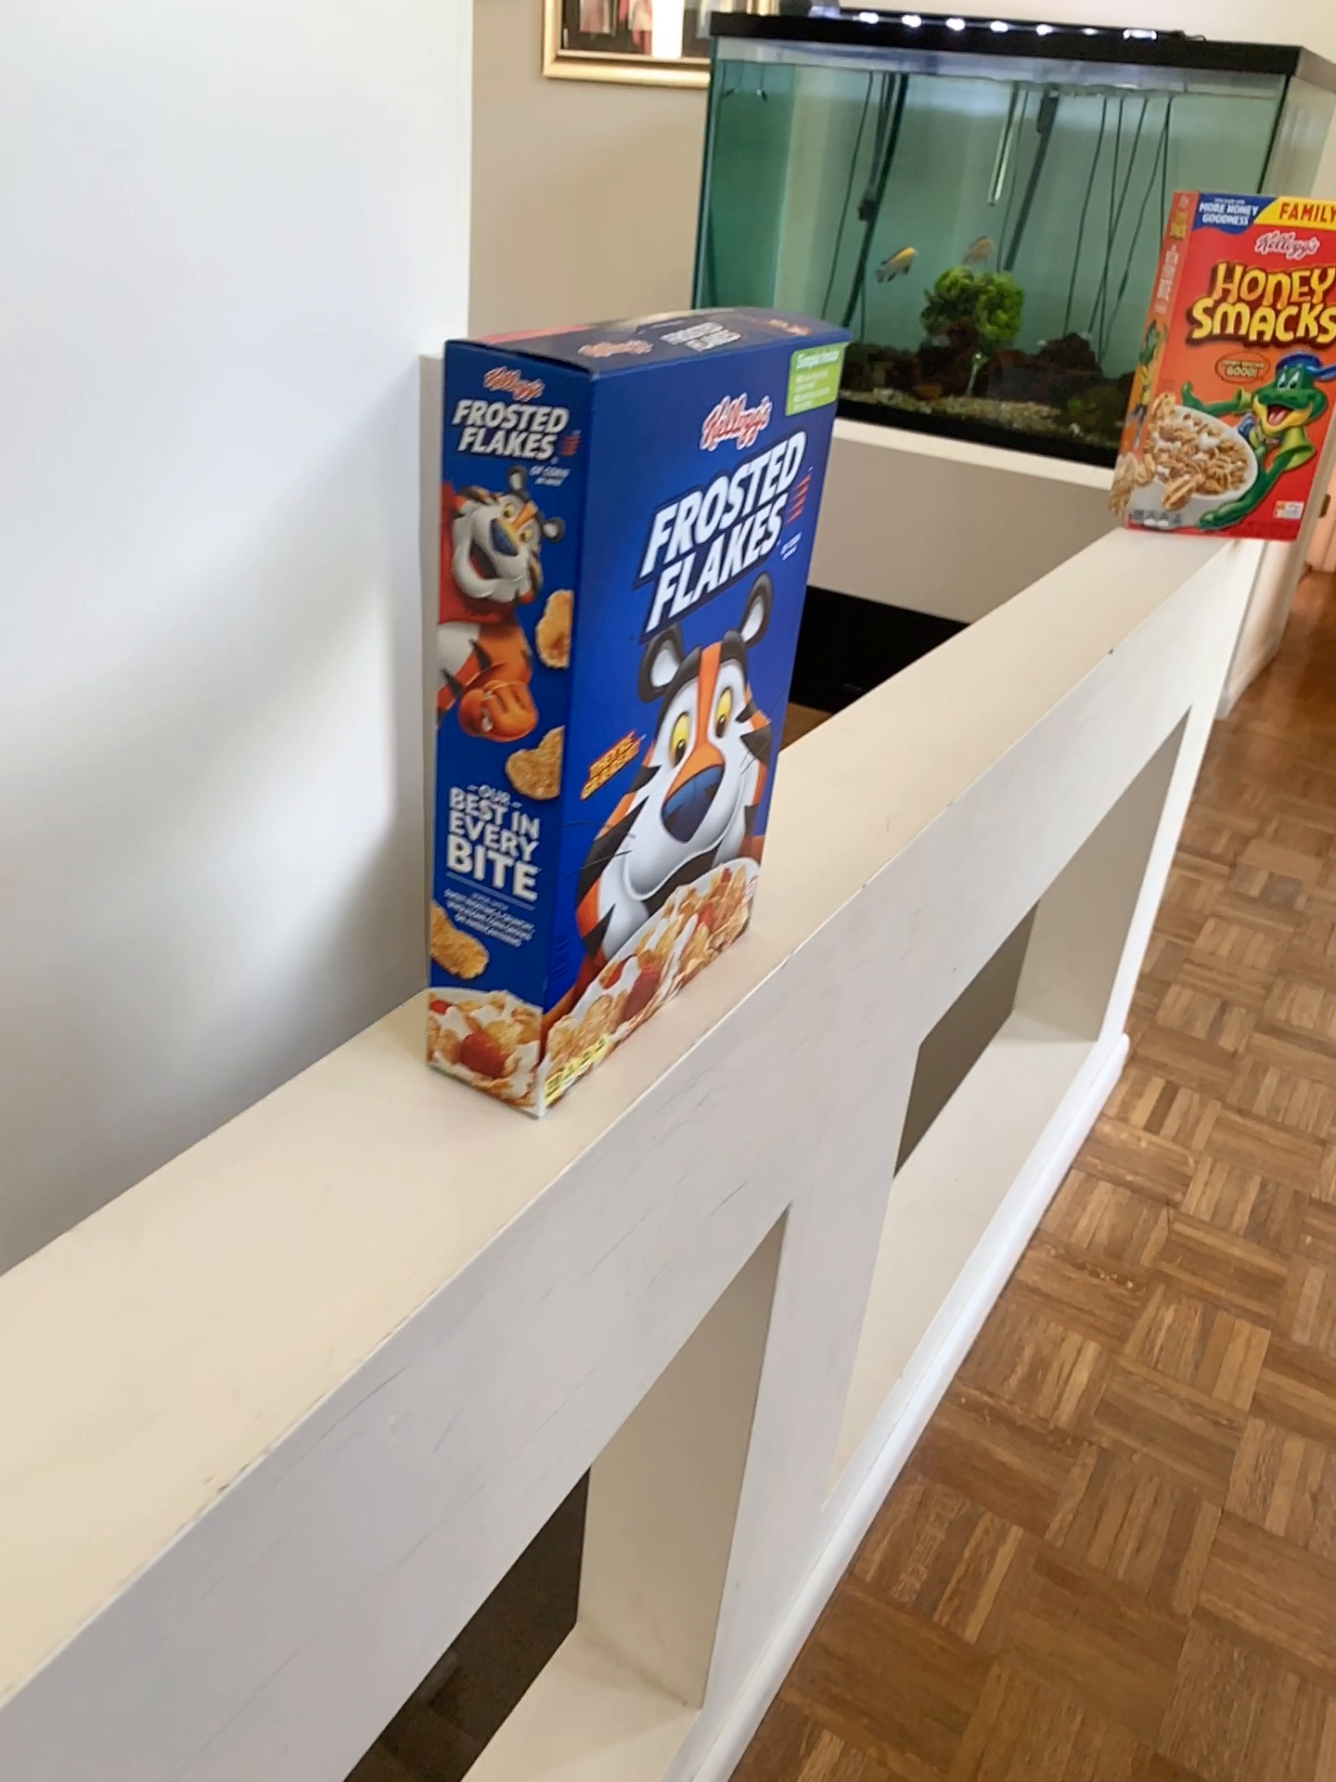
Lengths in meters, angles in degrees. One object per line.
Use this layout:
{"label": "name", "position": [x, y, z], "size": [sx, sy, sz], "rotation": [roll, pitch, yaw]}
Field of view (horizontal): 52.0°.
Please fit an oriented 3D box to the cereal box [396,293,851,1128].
{"label": "cereal box", "position": [-0.019, -0.079, 0.559], "size": [0.060, 0.288, 0.201], "rotation": [22, 32, 23]}
